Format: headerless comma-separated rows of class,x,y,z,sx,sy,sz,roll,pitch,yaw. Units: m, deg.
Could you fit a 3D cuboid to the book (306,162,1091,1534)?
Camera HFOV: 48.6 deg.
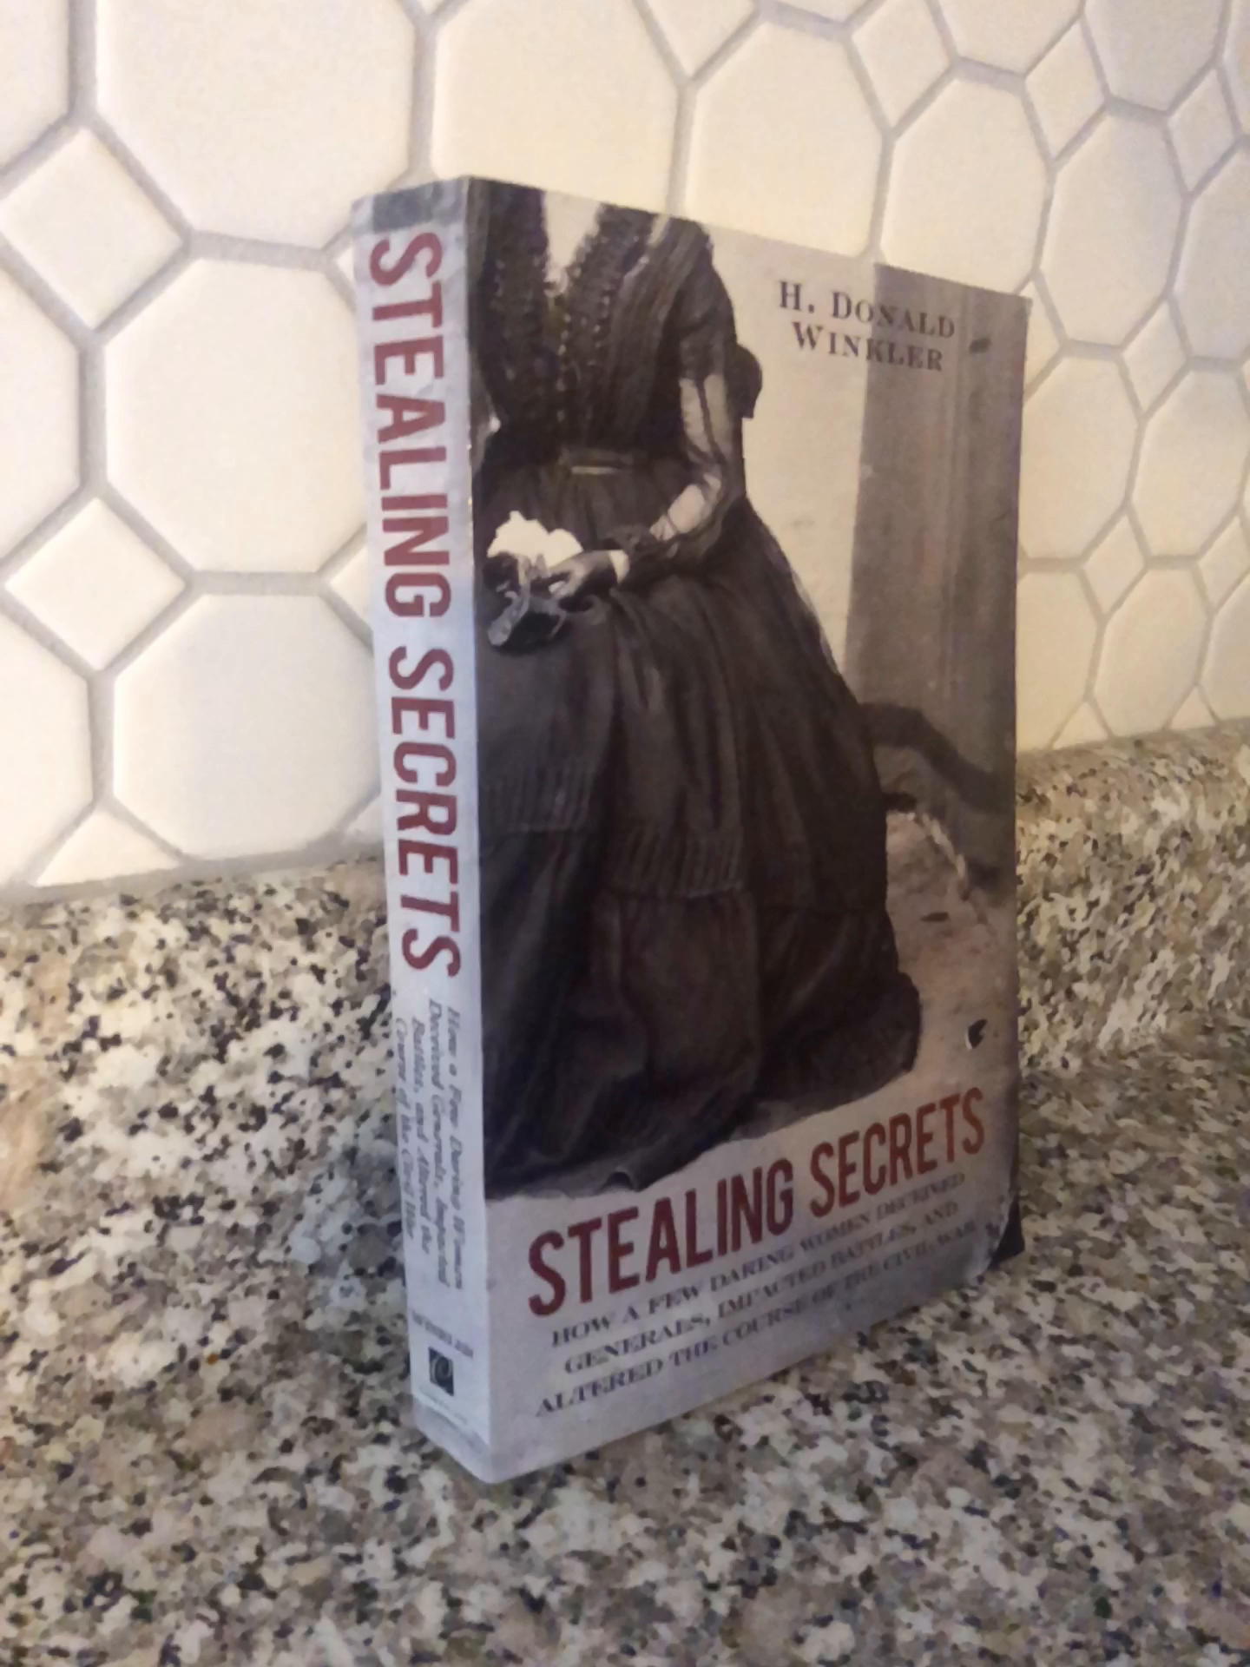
book,0.026,-0.002,0.287,0.162,0.226,0.041,-8,11,-35
